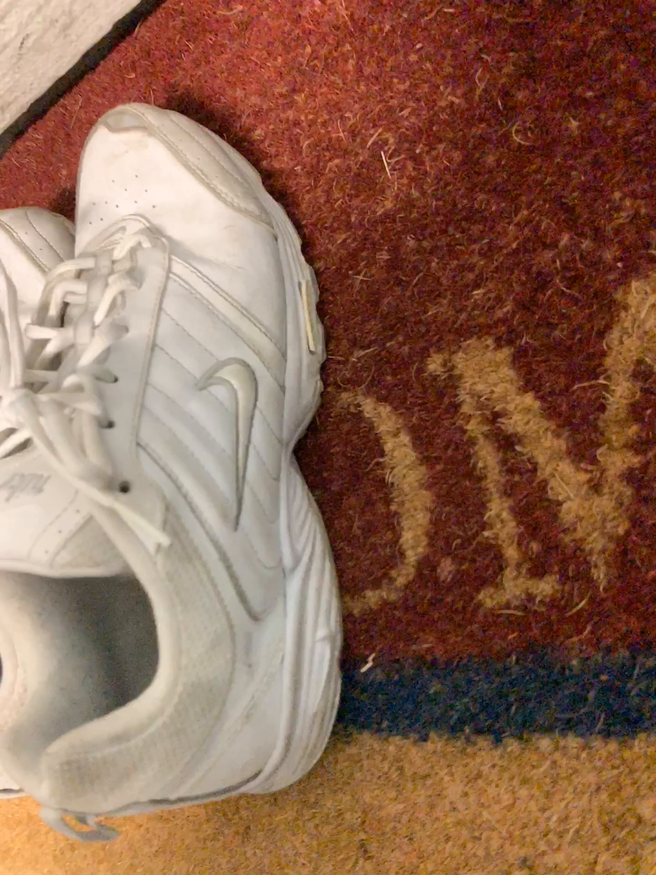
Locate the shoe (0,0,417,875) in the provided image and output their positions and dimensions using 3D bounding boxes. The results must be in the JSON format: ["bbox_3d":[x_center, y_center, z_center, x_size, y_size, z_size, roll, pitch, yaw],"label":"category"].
[{"bbox_3d":[-0.079,-0.009,0.248,0.121,0.129,0.301,-17,78,36],"label":"shoe"}]

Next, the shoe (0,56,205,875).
[{"bbox_3d":[-0.162,0.017,0.311,0.110,0.129,0.301,-17,78,36],"label":"shoe"}]
